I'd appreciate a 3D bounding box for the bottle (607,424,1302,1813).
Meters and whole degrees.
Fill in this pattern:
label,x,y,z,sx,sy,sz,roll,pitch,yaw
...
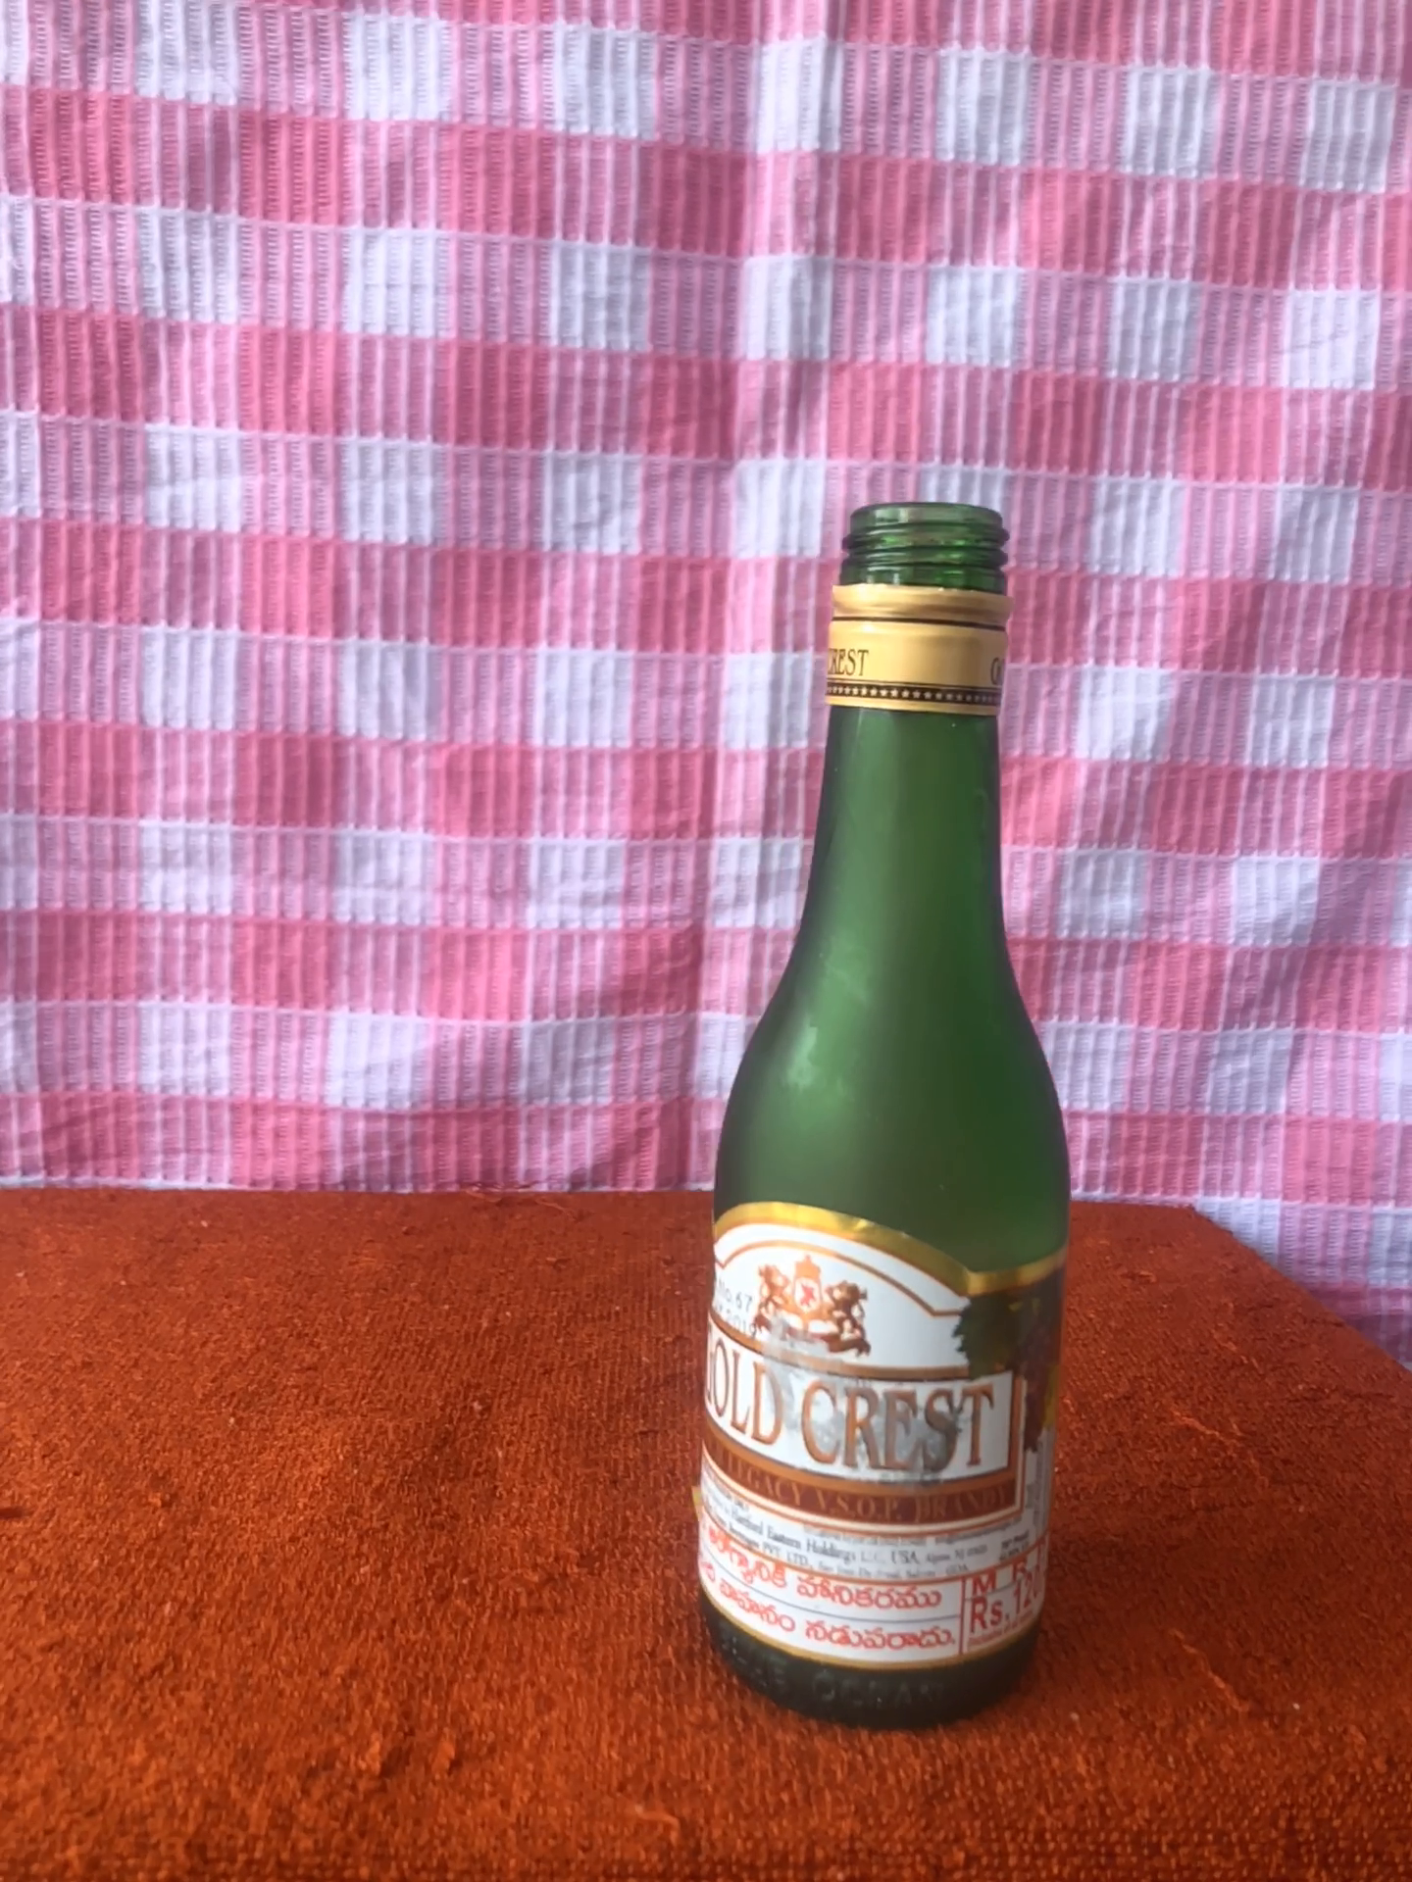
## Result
label,x,y,z,sx,sy,sz,roll,pitch,yaw
bottle,0.034,0.019,0.225,0.060,0.170,0.060,5,11,-1
